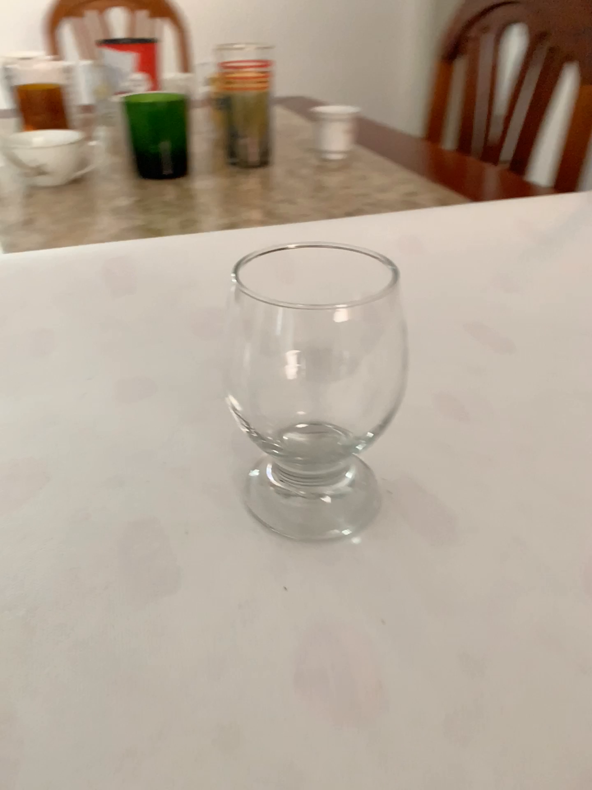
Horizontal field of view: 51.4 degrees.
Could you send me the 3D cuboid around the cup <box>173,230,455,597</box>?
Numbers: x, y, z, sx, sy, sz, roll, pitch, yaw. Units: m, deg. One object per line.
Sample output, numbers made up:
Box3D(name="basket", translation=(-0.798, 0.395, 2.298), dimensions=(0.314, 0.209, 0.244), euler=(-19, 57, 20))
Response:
Box3D(name="cup", translation=(0.002, 0.004, 0.253), dimensions=(0.080, 0.112, 0.080), euler=(0, 33, 0))
